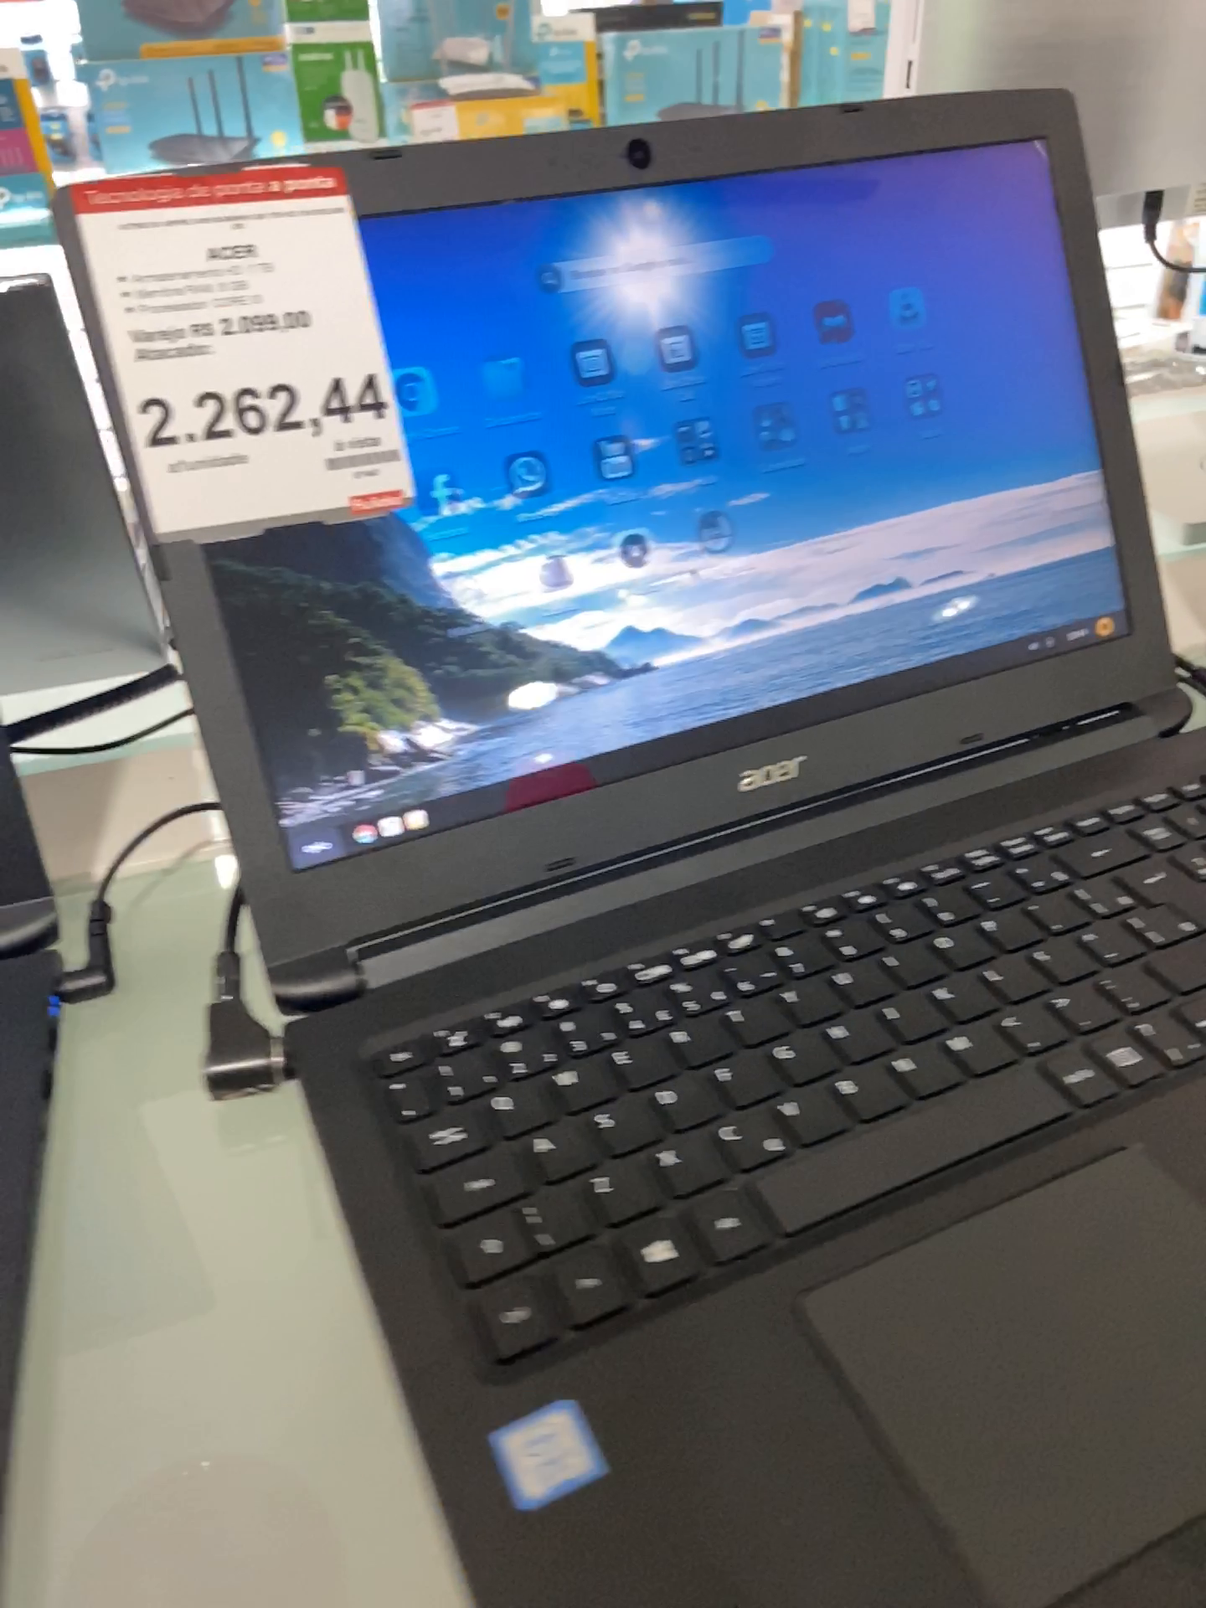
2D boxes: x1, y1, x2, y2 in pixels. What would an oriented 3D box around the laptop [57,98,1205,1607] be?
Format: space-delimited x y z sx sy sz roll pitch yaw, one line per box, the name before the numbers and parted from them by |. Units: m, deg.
laptop | 0.095 -0.049 0.346 0.389 0.226 0.376 -16 34 -19
